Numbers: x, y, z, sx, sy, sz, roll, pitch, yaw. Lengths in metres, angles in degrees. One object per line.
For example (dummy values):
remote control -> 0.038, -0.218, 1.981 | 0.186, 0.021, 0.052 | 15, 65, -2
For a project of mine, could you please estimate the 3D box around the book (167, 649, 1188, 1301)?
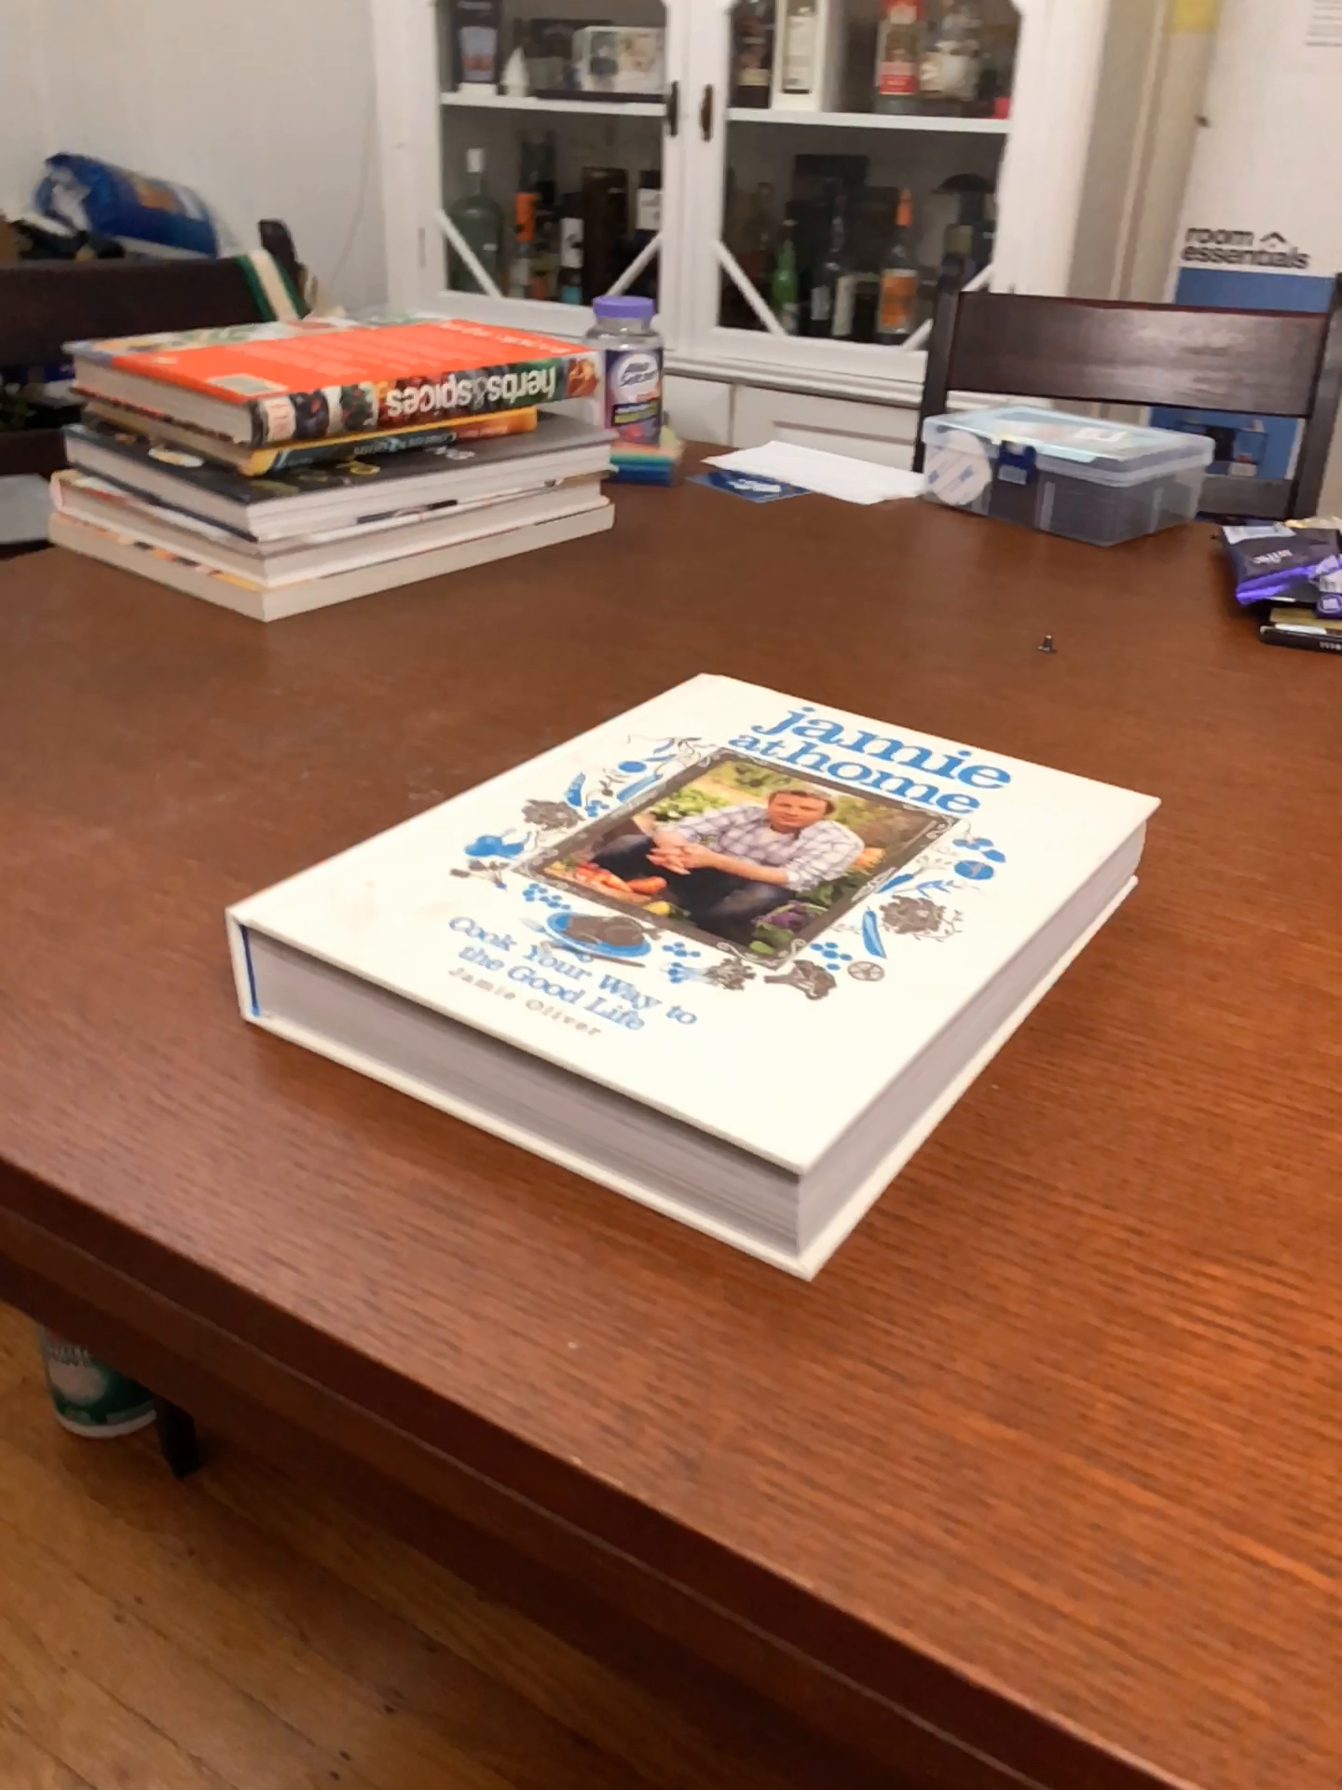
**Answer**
book -> 0.017, -0.005, 0.472 | 0.210, 0.040, 0.261 | 19, 33, 30
